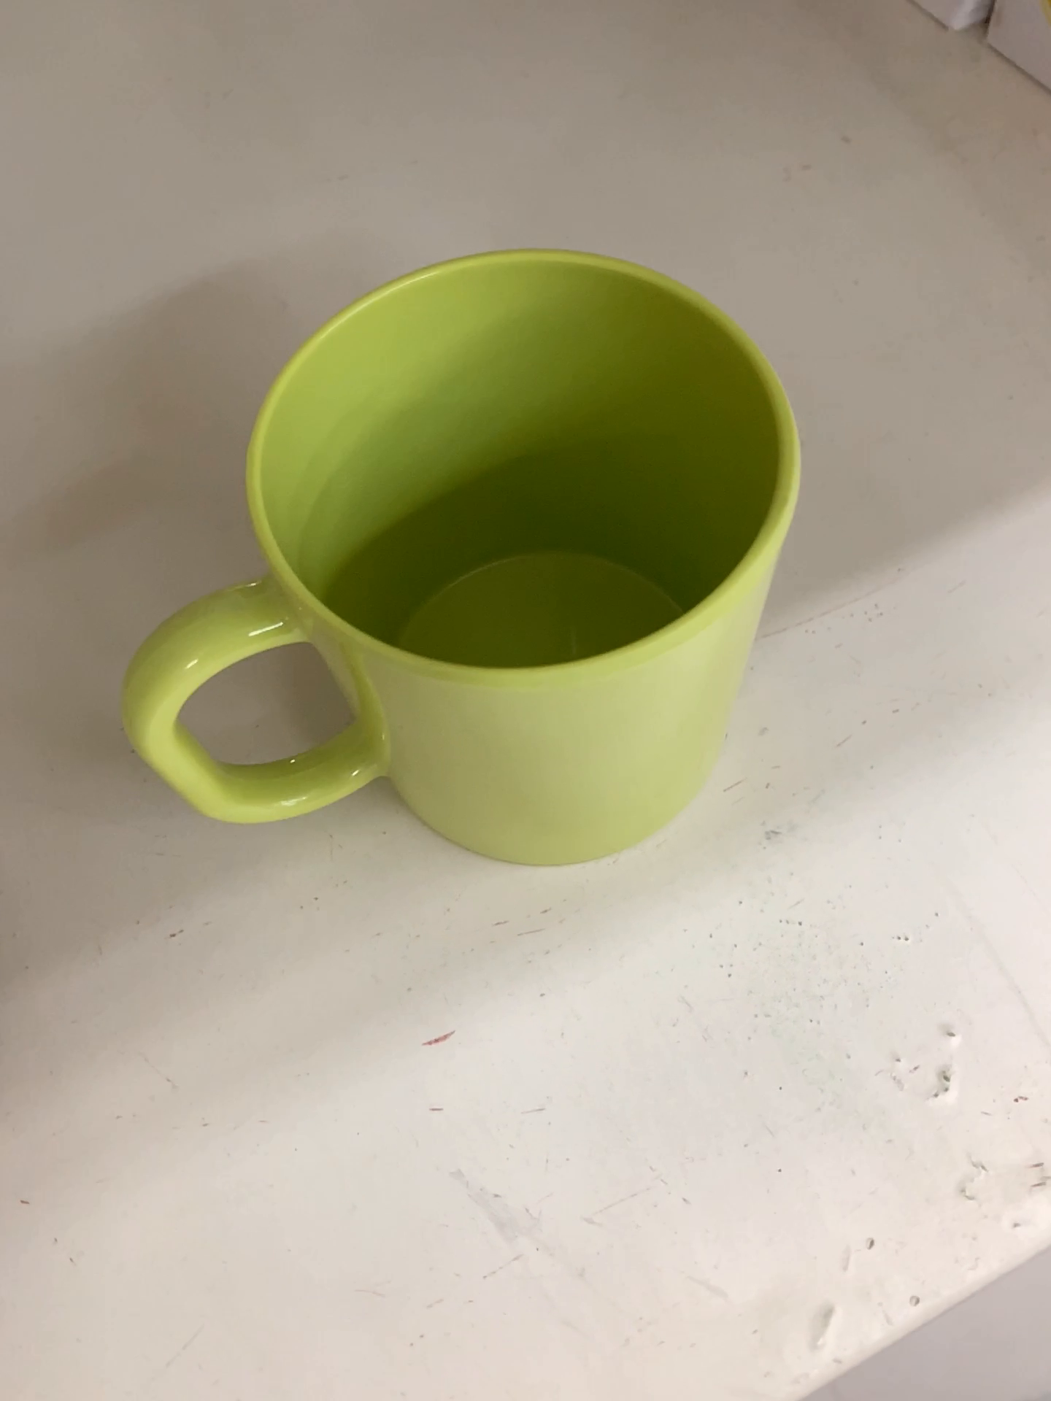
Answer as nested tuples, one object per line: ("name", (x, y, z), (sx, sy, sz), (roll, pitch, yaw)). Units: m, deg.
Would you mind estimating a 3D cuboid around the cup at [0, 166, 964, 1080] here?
("cup", (-0.007, -0.011, 0.160), (0.089, 0.063, 0.077), (-33, 63, -12))
